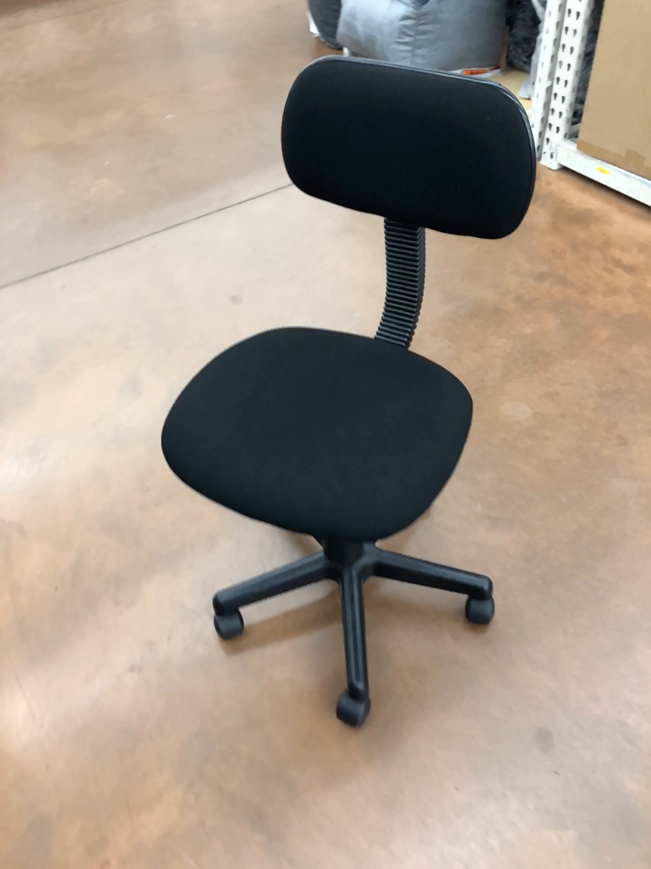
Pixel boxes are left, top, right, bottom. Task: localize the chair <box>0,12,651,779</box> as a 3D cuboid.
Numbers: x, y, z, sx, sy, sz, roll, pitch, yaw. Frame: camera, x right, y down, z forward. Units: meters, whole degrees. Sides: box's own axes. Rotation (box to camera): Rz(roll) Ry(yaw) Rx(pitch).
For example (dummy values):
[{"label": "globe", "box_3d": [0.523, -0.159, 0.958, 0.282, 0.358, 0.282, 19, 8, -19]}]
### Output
[{"label": "chair", "box_3d": [0.039, -0.088, 1.111, 0.671, 0.797, 0.662, 20, 50, 23]}]
